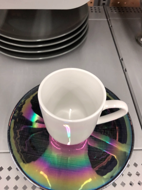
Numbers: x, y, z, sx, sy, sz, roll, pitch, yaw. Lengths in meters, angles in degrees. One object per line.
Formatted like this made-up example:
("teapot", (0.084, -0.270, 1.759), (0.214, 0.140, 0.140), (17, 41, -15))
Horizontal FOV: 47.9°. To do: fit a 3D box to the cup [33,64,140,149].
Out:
("cup", (0.014, 0.020, 0.229), (0.113, 0.098, 0.078), (-2, 54, -3))
